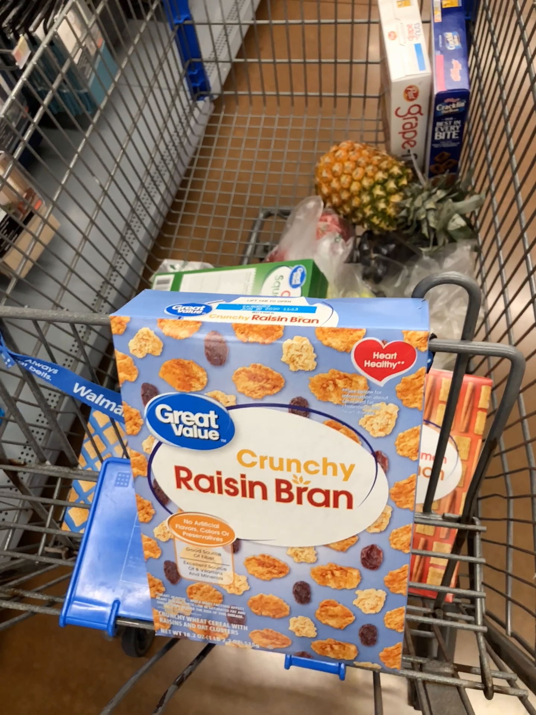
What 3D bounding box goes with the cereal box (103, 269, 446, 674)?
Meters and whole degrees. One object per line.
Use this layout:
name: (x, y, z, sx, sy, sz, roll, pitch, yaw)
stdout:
cereal box: (0.007, 0.085, 0.428, 0.200, 0.280, 0.070, 3, 23, 9)
